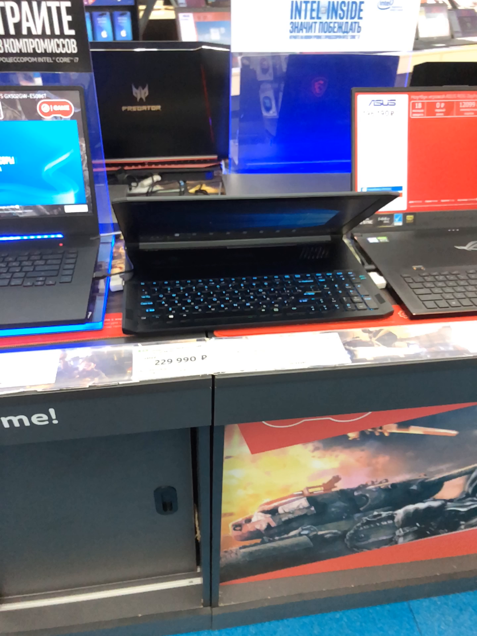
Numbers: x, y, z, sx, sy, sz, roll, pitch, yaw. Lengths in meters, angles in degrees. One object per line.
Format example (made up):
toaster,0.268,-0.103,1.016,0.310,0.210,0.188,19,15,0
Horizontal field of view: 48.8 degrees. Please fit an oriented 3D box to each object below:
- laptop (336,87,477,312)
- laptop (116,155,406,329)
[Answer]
laptop,0.413,-0.219,0.869,0.371,0.235,0.365,-4,34,-8
laptop,0.016,-0.127,0.790,0.370,0.152,0.227,-4,35,-8
